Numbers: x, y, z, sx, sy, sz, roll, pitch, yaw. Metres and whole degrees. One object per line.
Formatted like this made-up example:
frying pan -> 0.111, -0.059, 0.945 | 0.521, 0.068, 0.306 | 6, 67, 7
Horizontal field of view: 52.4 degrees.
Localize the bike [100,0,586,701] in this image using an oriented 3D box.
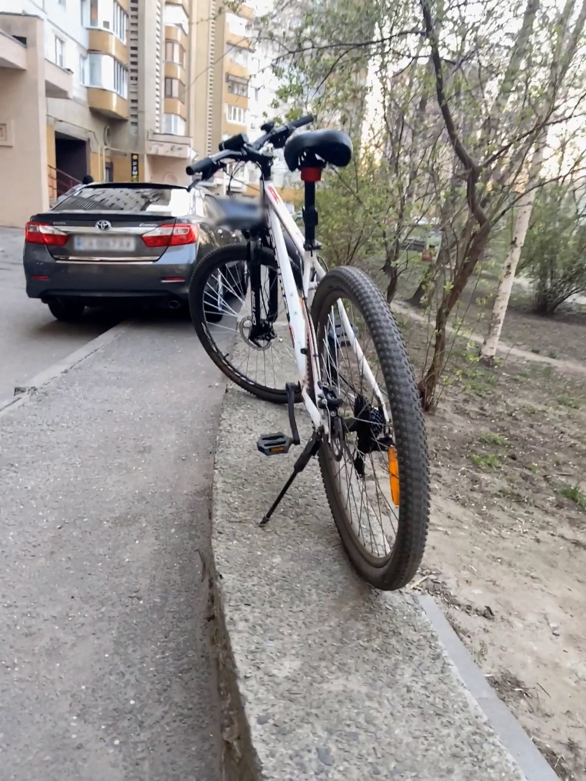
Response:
bike -> -0.147, -0.237, 1.748 | 0.679, 1.146, 1.755 | -1, 15, -21
